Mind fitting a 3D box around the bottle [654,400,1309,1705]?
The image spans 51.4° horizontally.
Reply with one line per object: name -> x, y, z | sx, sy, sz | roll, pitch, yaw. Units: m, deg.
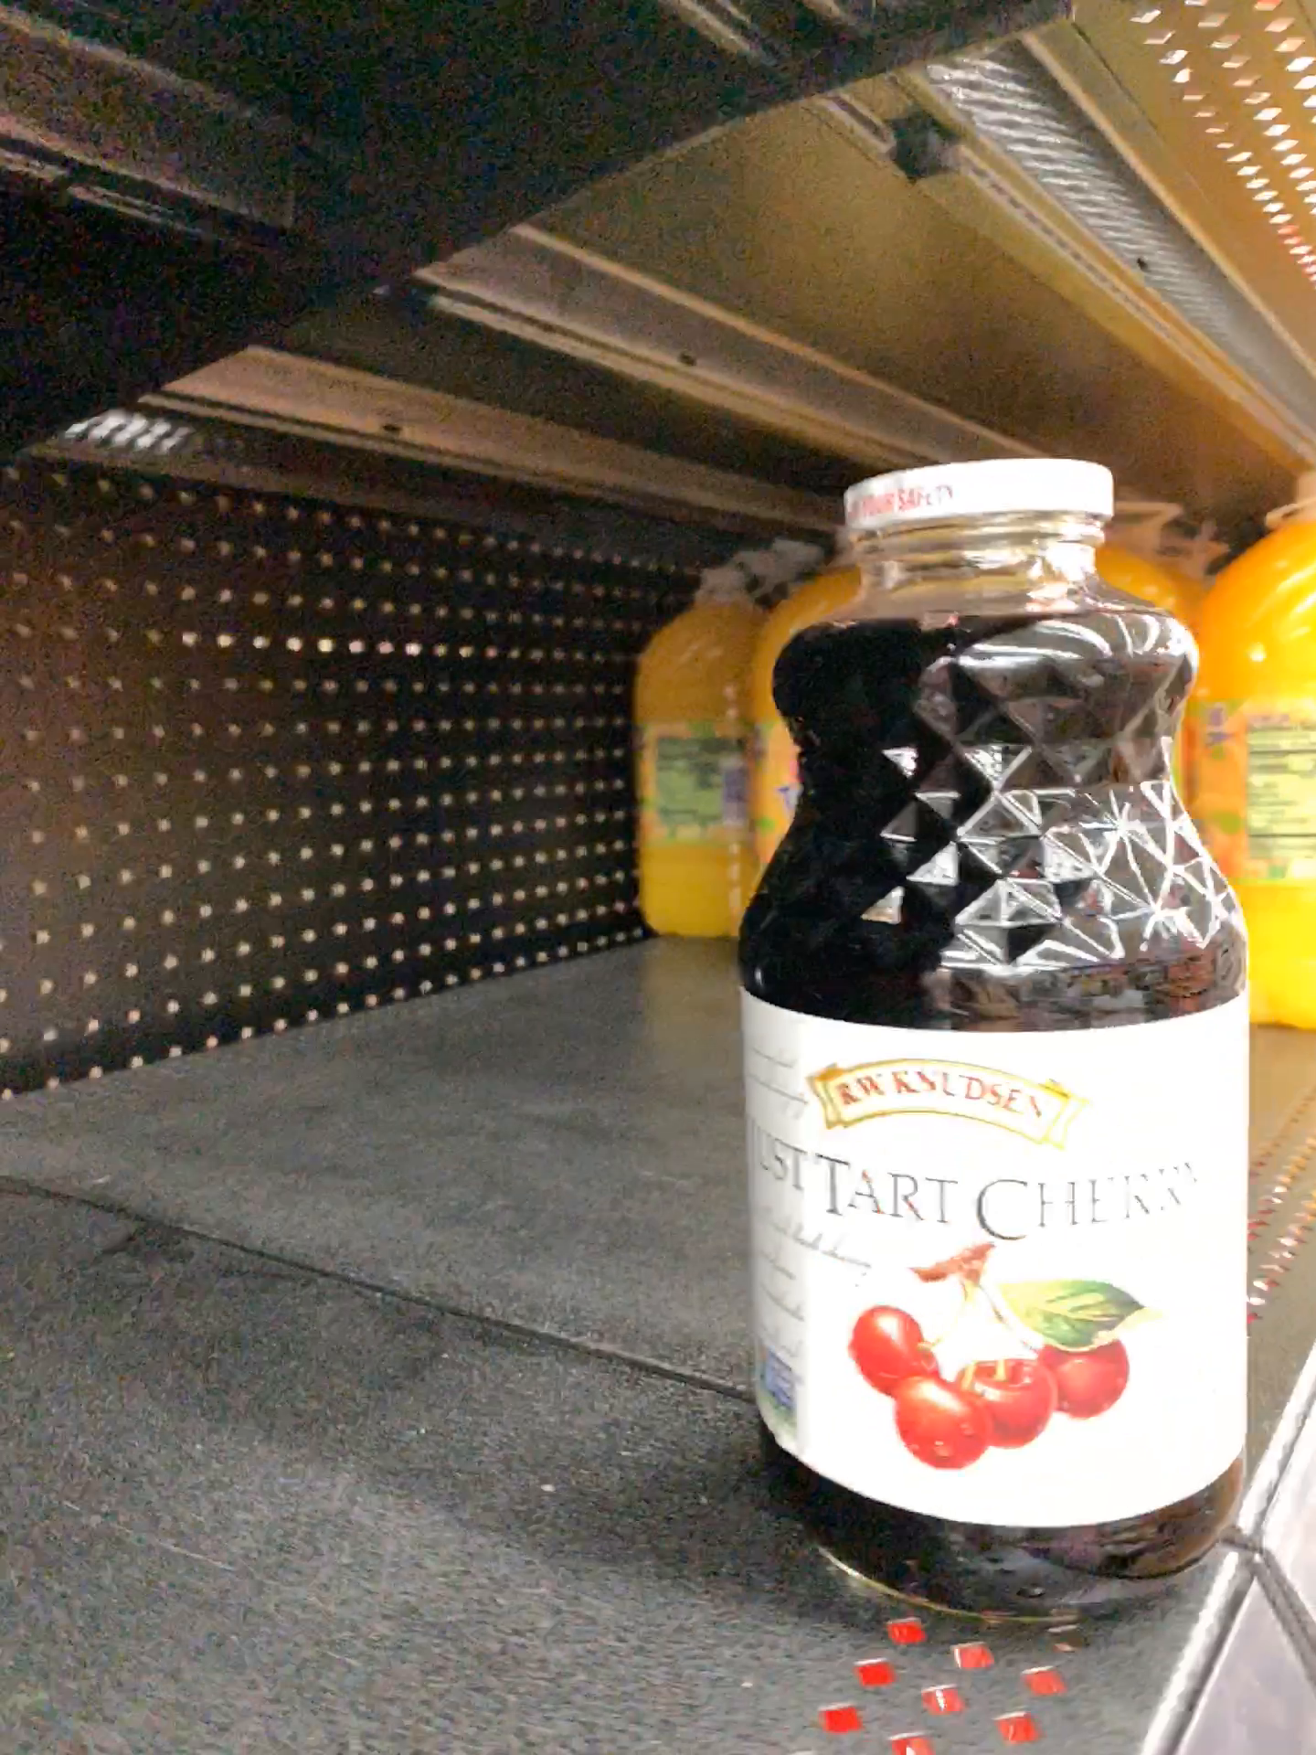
bottle -> 0.068, 0.023, 0.274 | 0.100, 0.200, 0.110 | 1, 7, 22
